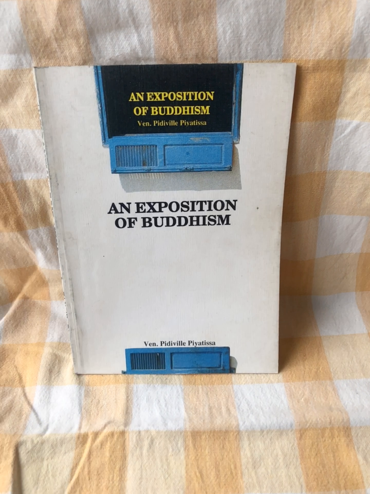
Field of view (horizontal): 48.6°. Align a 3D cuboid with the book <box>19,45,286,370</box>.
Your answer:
[{"bbox_3d":[-0.014,-0.012,0.258,0.140,0.199,0.020,-1,20,3],"label":"book"}]
